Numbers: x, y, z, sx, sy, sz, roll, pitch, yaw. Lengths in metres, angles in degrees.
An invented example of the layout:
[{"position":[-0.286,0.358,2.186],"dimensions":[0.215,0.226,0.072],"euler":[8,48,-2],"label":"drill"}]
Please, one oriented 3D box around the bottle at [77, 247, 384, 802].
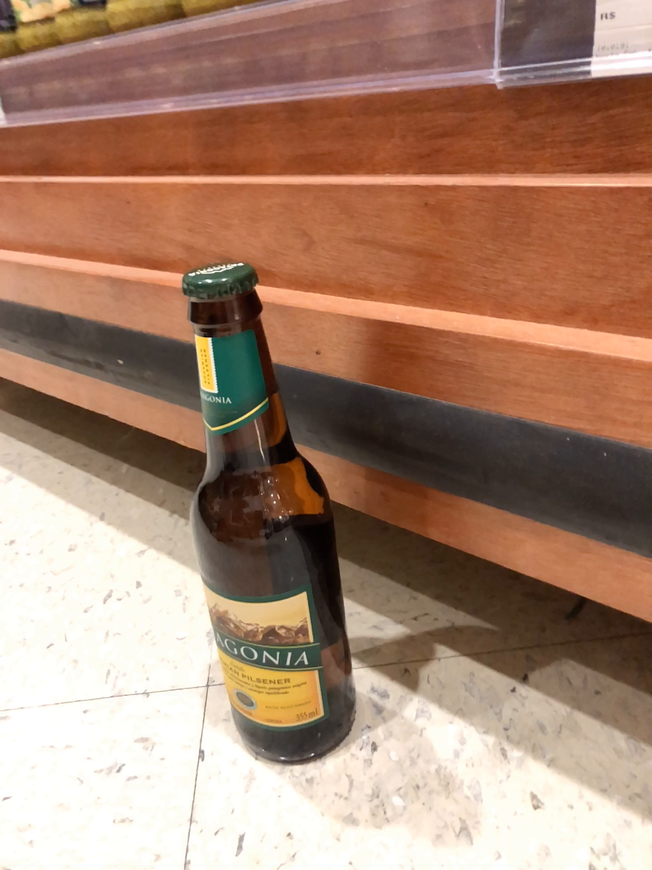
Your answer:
[{"position":[-0.031,0.040,0.304],"dimensions":[0.070,0.218,0.060],"euler":[17,35,40],"label":"bottle"}]
